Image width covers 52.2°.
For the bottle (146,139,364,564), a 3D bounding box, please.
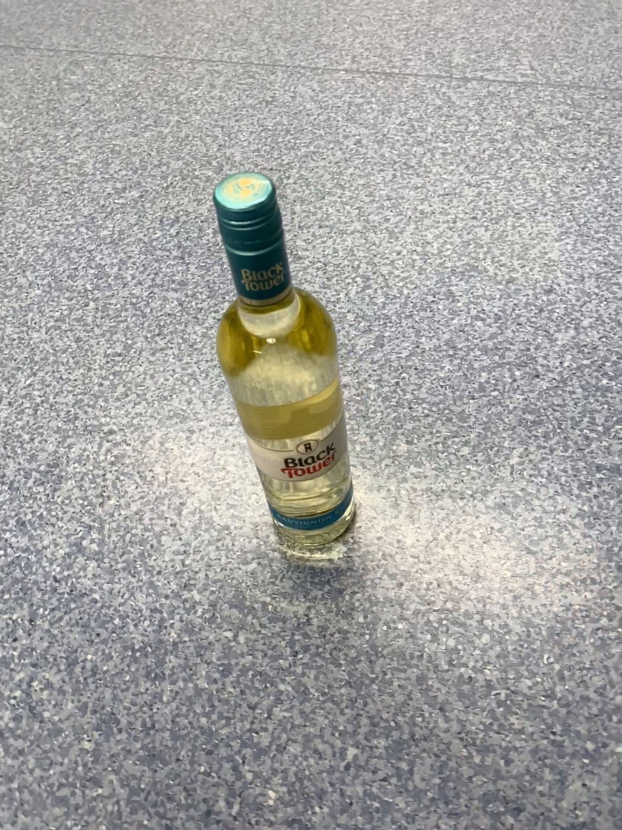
[{"bbox_3d":[-0.018,-0.008,0.408,0.071,0.306,0.065,-4,53,5],"label":"bottle"}]
